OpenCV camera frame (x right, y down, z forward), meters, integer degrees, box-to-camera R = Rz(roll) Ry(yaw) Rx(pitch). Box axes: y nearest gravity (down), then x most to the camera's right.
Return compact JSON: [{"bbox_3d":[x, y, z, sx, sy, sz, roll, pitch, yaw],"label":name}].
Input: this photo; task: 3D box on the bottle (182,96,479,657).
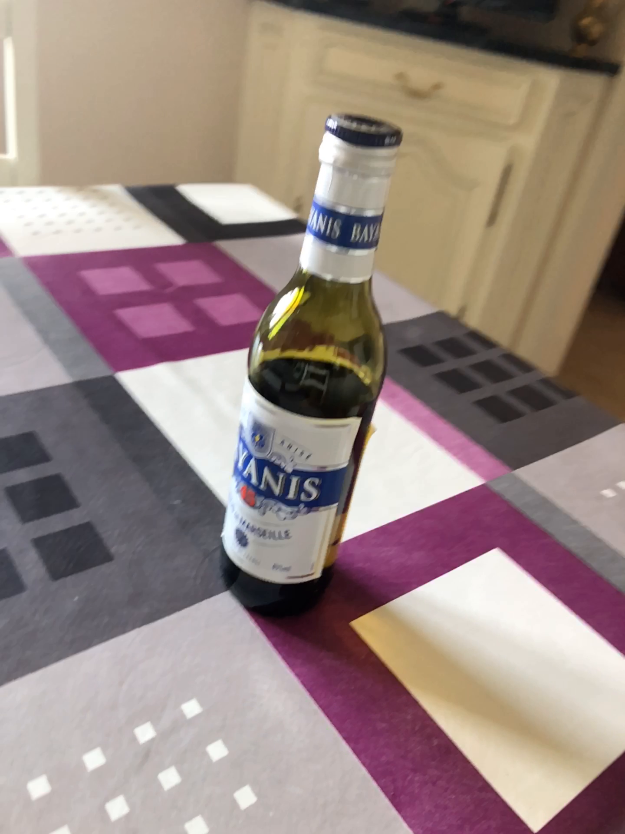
[{"bbox_3d":[-0.005,-0.008,0.336,0.070,0.258,0.070,8,33,-5],"label":"bottle"}]
